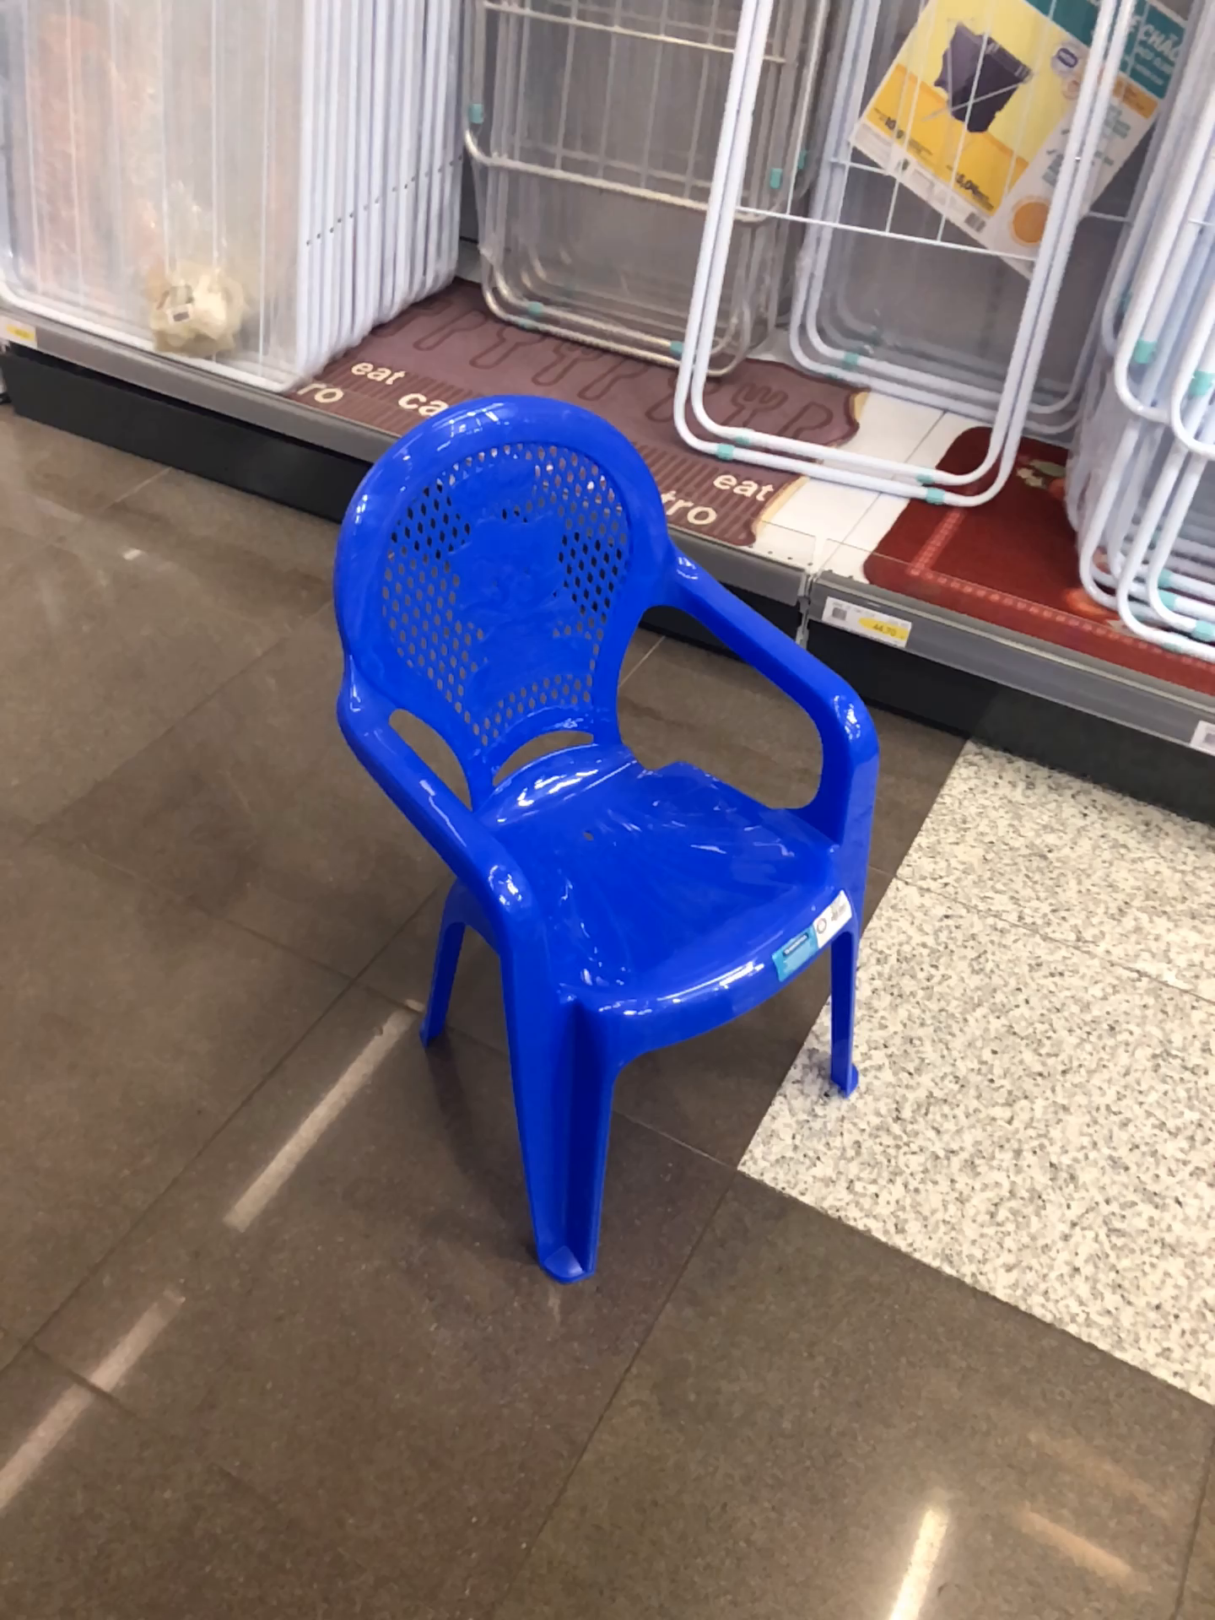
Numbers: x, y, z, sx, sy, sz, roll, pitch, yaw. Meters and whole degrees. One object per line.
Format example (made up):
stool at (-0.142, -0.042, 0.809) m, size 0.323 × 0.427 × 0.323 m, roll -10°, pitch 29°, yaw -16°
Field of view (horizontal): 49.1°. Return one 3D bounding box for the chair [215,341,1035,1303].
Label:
chair at (-0.011, 0.001, 1.014) m, size 0.351 × 0.506 × 0.402 m, roll -25°, pitch 50°, yaw -27°
